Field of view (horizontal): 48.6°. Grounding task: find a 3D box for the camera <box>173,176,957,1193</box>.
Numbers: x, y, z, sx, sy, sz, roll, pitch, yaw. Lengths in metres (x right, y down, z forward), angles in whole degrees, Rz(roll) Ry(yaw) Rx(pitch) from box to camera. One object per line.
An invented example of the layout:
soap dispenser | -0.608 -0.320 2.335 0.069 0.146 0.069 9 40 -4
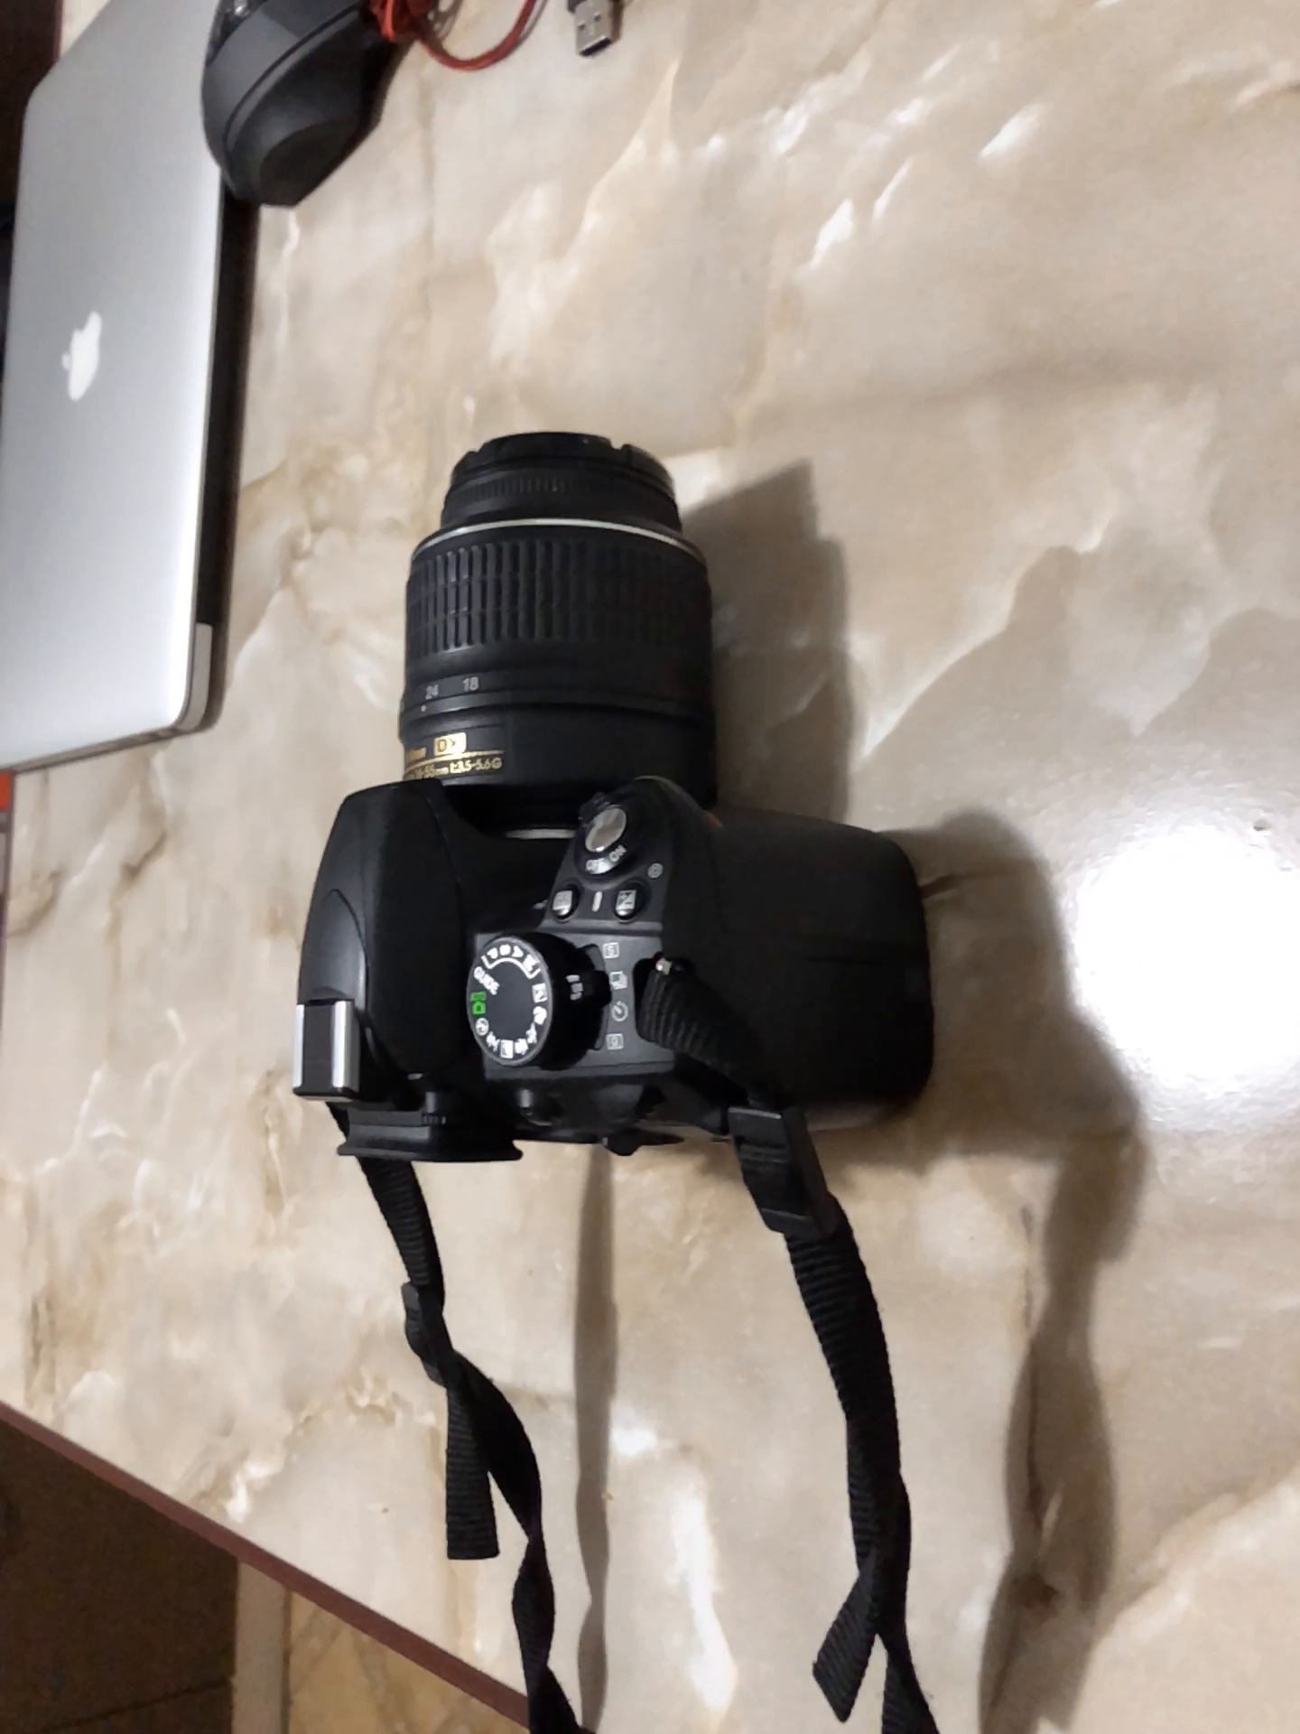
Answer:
camera | -0.022 -0.020 0.299 0.126 0.100 0.160 -10 77 48
